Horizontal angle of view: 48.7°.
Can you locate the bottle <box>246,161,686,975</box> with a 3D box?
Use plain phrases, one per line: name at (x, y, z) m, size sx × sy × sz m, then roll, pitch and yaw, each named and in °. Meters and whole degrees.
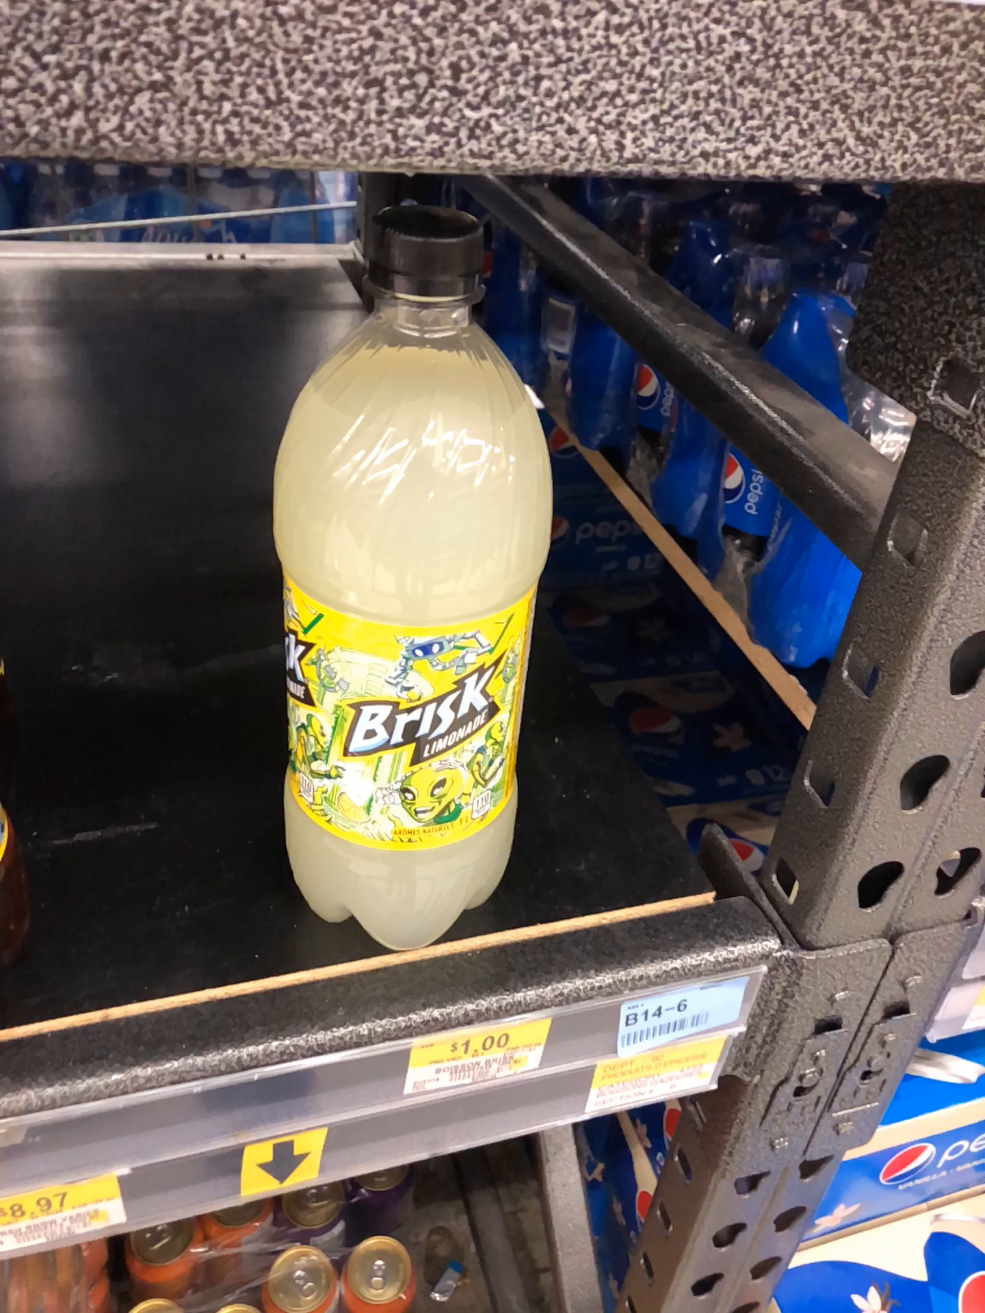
bottle at (-0.023, -0.018, 0.337) m, size 0.090 × 0.228 × 0.091 m, roll 5°, pitch 36°, yaw -3°
